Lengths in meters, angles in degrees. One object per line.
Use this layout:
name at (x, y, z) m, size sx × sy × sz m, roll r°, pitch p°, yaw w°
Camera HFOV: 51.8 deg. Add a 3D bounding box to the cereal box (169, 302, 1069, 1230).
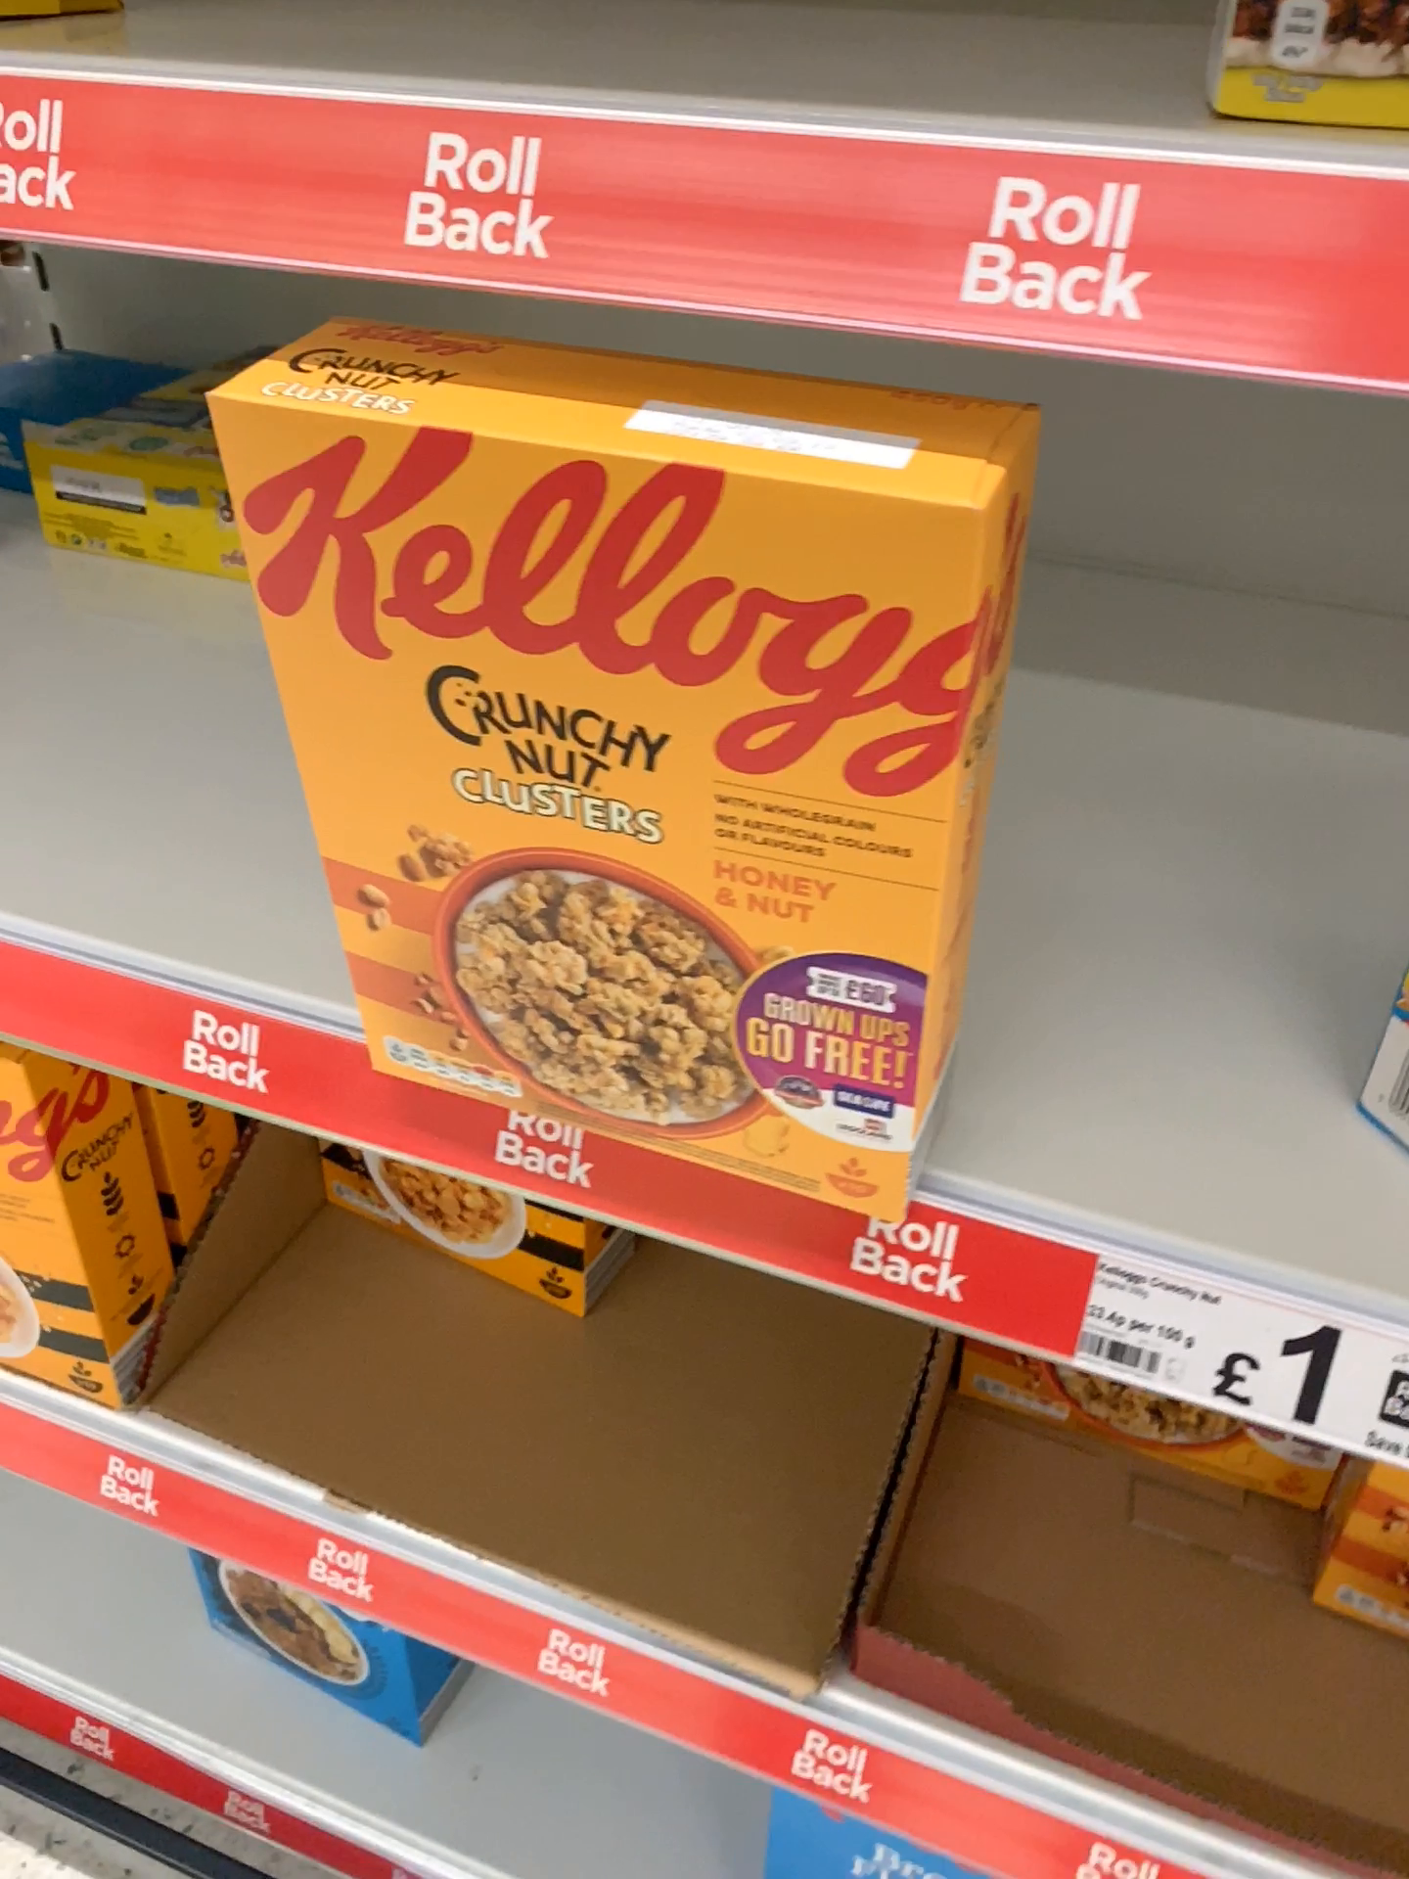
cereal box at (-0.020, -0.041, 0.409) m, size 0.200 × 0.228 × 0.061 m, roll 14°, pitch 43°, yaw 16°
